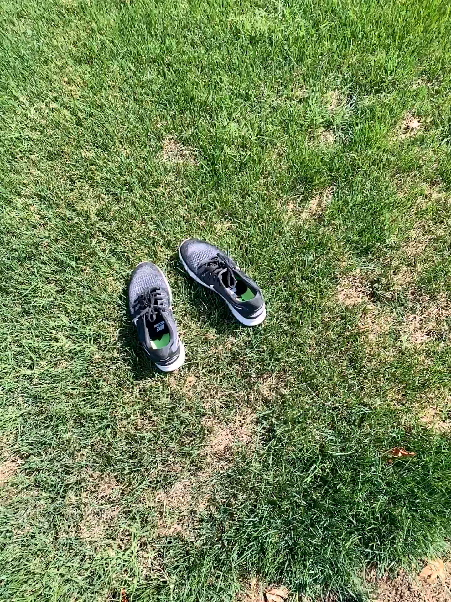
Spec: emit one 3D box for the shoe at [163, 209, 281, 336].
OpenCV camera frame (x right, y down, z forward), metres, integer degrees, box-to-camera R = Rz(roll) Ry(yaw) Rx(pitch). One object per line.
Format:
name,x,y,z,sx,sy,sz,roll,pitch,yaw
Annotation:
shoe,-0.008,-0.064,1.066,0.100,0.130,0.270,-42,74,-11

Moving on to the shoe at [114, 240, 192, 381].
shoe,-0.164,0.024,1.047,0.100,0.130,0.280,-15,70,-3
